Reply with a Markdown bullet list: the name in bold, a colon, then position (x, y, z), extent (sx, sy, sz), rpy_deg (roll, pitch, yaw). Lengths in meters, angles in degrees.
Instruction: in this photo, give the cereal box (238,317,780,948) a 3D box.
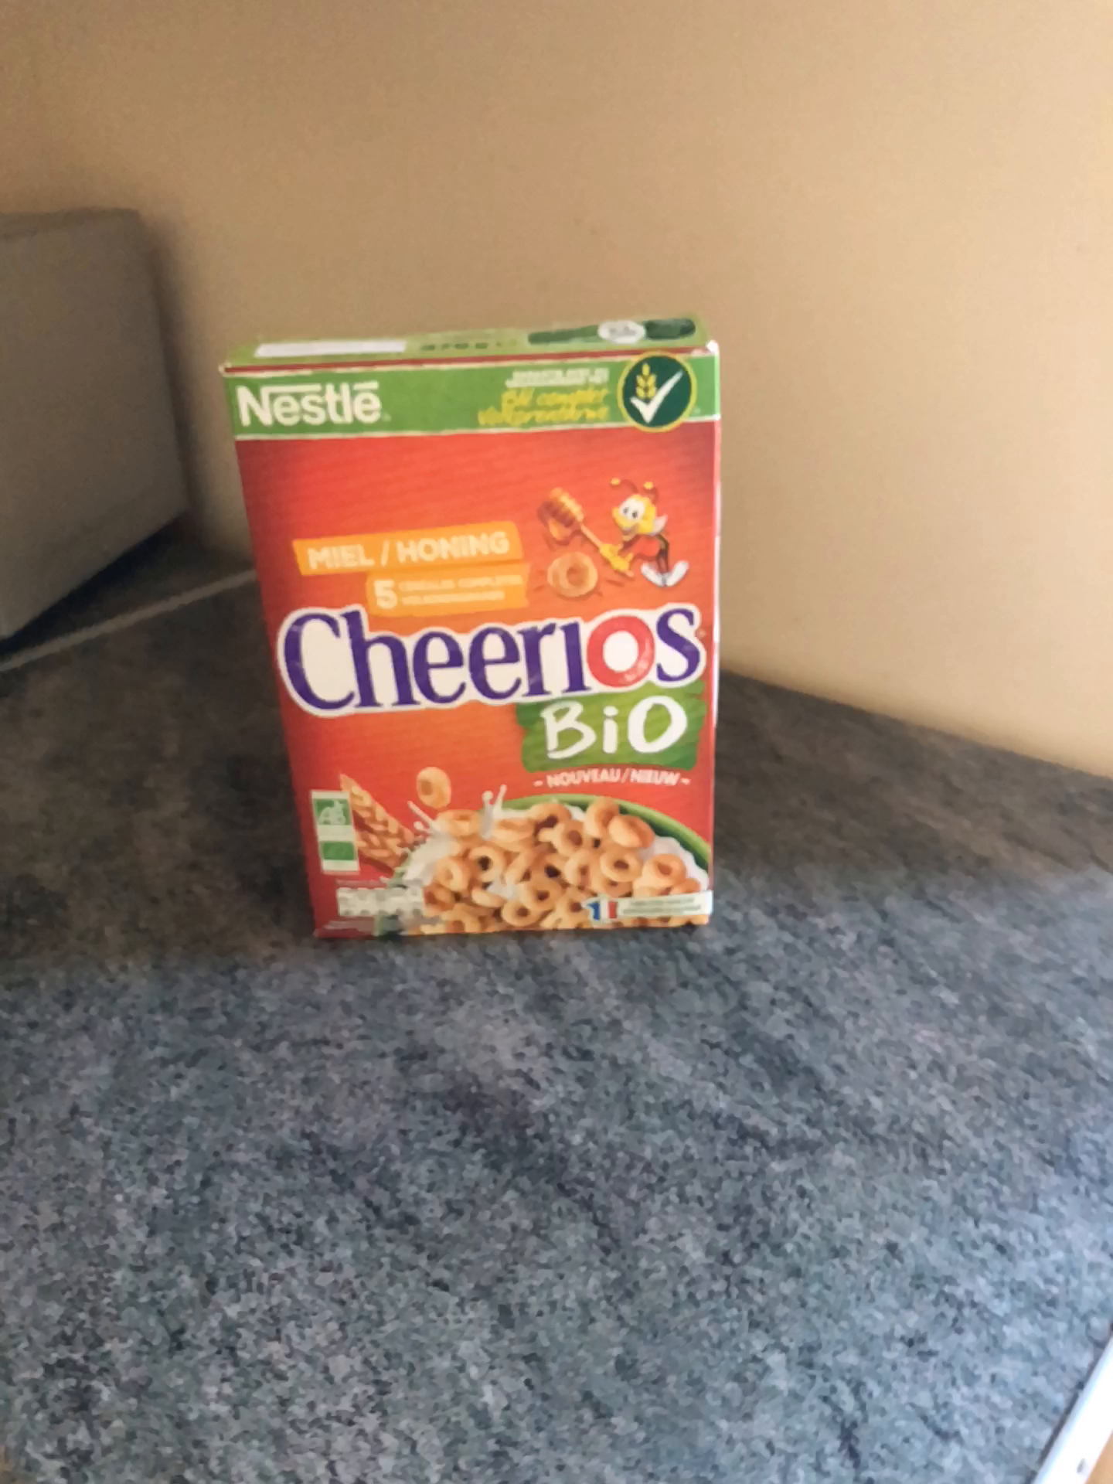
- **cereal box**: position (-0.011, -0.043, 0.545), extent (0.200, 0.259, 0.080), rpy_deg (-2, 26, 2)
